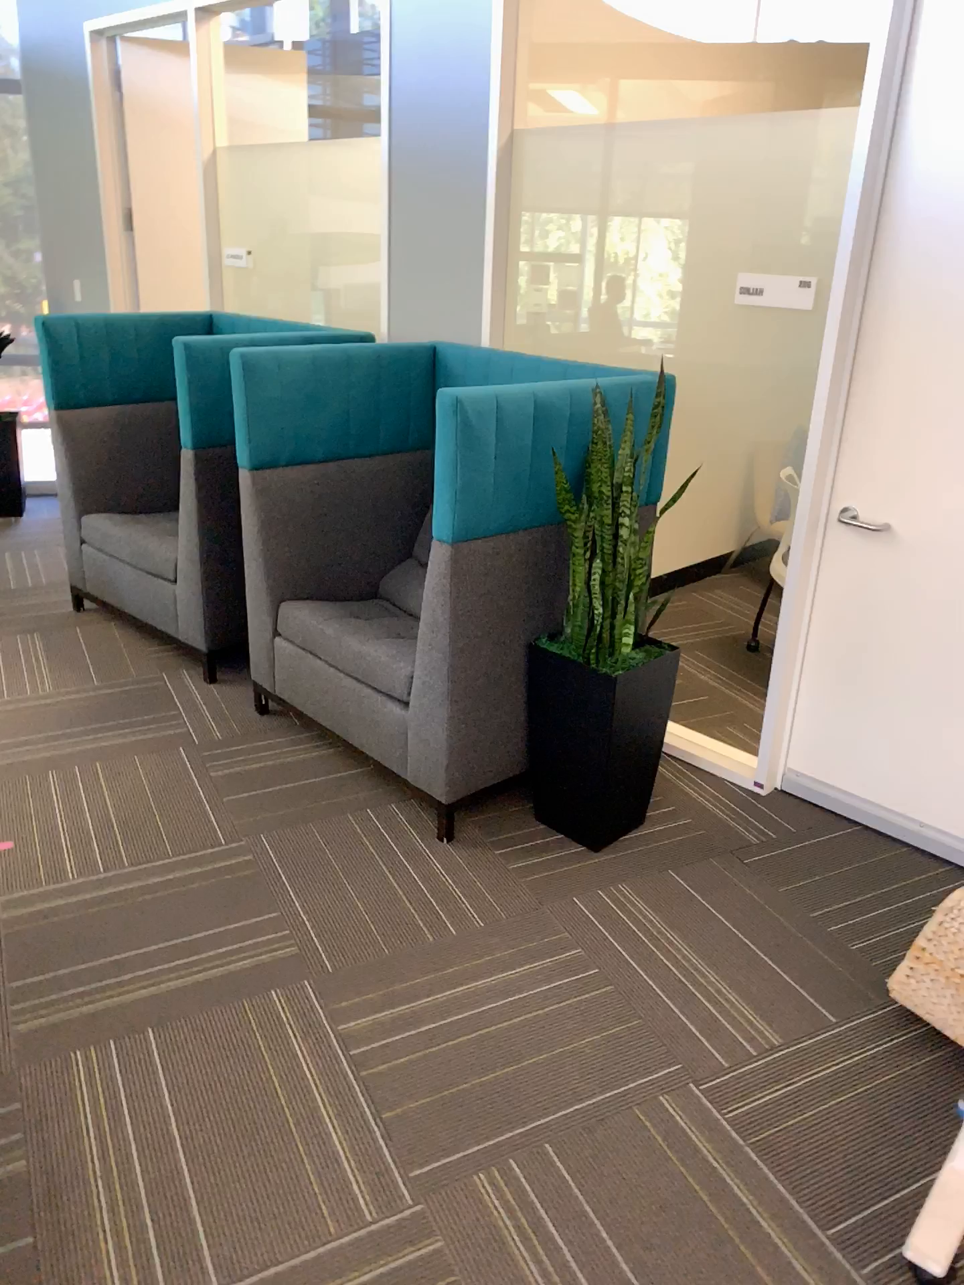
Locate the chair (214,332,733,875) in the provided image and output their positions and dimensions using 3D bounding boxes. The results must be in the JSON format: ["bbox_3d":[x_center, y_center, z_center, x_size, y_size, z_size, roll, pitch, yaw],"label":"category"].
[{"bbox_3d":[-0.059,-0.244,2.966,1.010,1.214,1.055,-16,28,-39],"label":"chair"}]
